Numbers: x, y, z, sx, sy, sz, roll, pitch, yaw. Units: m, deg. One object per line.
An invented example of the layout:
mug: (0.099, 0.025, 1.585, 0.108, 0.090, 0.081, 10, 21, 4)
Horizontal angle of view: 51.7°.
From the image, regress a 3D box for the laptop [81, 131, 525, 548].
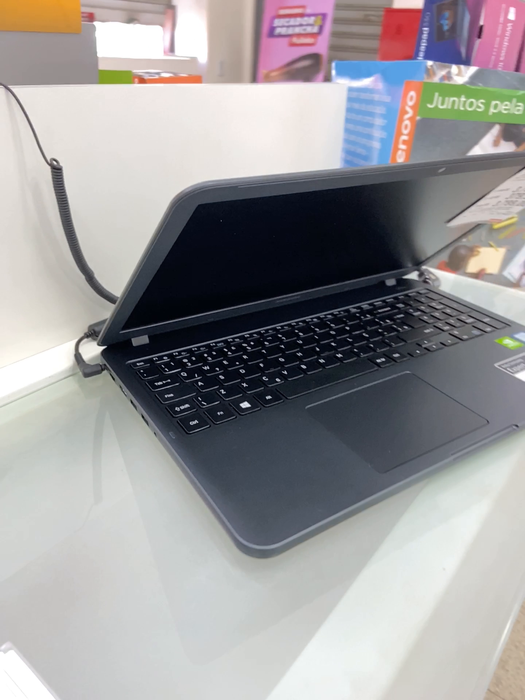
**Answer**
laptop: (0.085, -0.062, 0.410, 0.358, 0.158, 0.232, -15, 33, -31)
